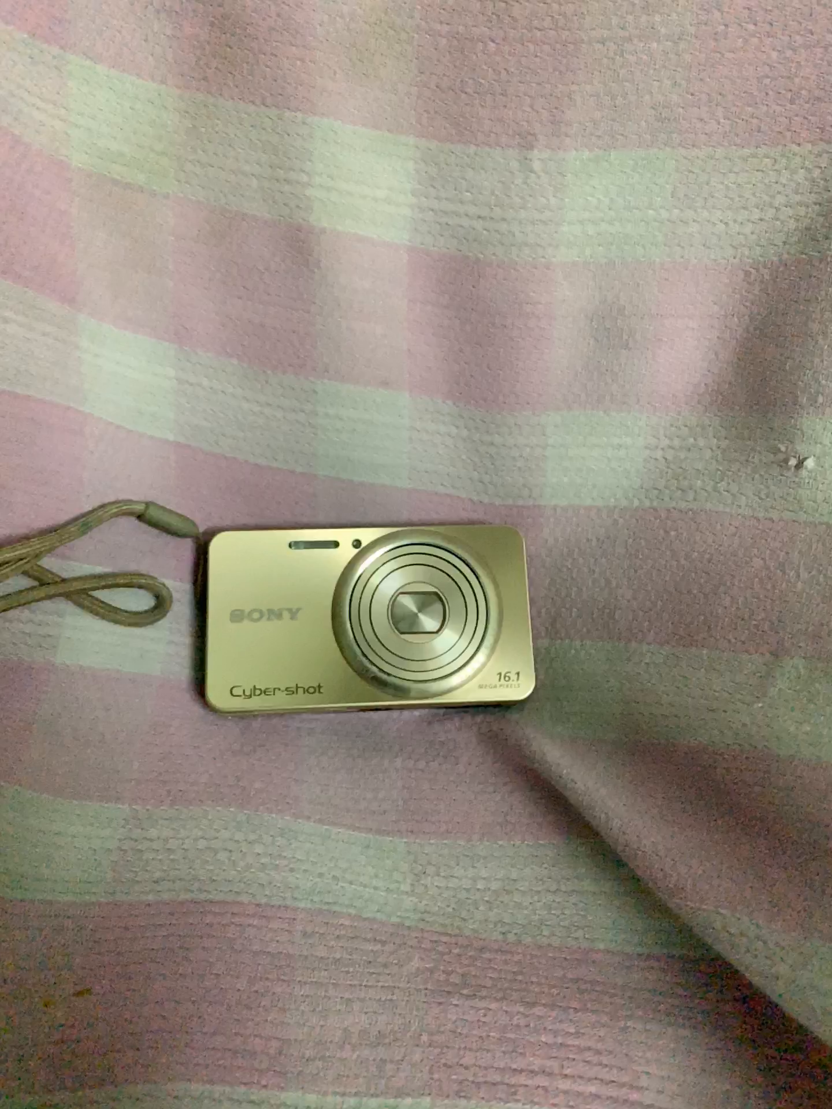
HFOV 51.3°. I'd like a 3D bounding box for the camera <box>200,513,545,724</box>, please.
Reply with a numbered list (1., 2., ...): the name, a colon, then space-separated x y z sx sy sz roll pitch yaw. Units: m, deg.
1. camera: -0.013 0.019 0.249 0.091 0.027 0.053 -2 75 -4
